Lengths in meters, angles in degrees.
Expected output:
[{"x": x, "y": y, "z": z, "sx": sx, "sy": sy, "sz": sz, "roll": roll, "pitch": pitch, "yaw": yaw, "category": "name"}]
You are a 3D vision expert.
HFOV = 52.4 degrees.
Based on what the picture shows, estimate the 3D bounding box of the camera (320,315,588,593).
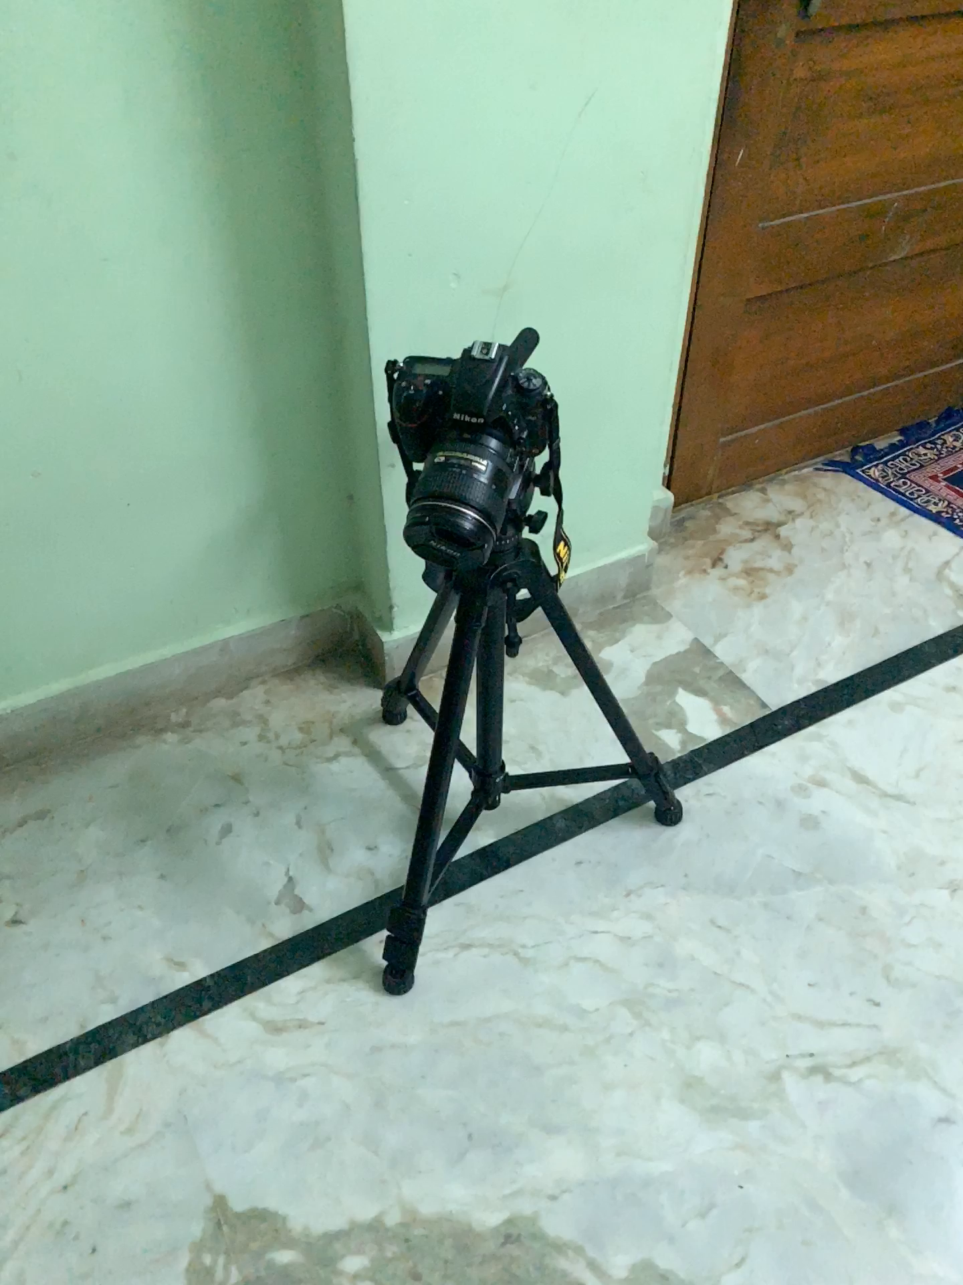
[{"x": -0.015, "y": -0.163, "z": 0.840, "sx": 0.170, "sy": 0.110, "sz": 0.180, "roll": 12, "pitch": 67, "yaw": 14, "category": "camera"}]
